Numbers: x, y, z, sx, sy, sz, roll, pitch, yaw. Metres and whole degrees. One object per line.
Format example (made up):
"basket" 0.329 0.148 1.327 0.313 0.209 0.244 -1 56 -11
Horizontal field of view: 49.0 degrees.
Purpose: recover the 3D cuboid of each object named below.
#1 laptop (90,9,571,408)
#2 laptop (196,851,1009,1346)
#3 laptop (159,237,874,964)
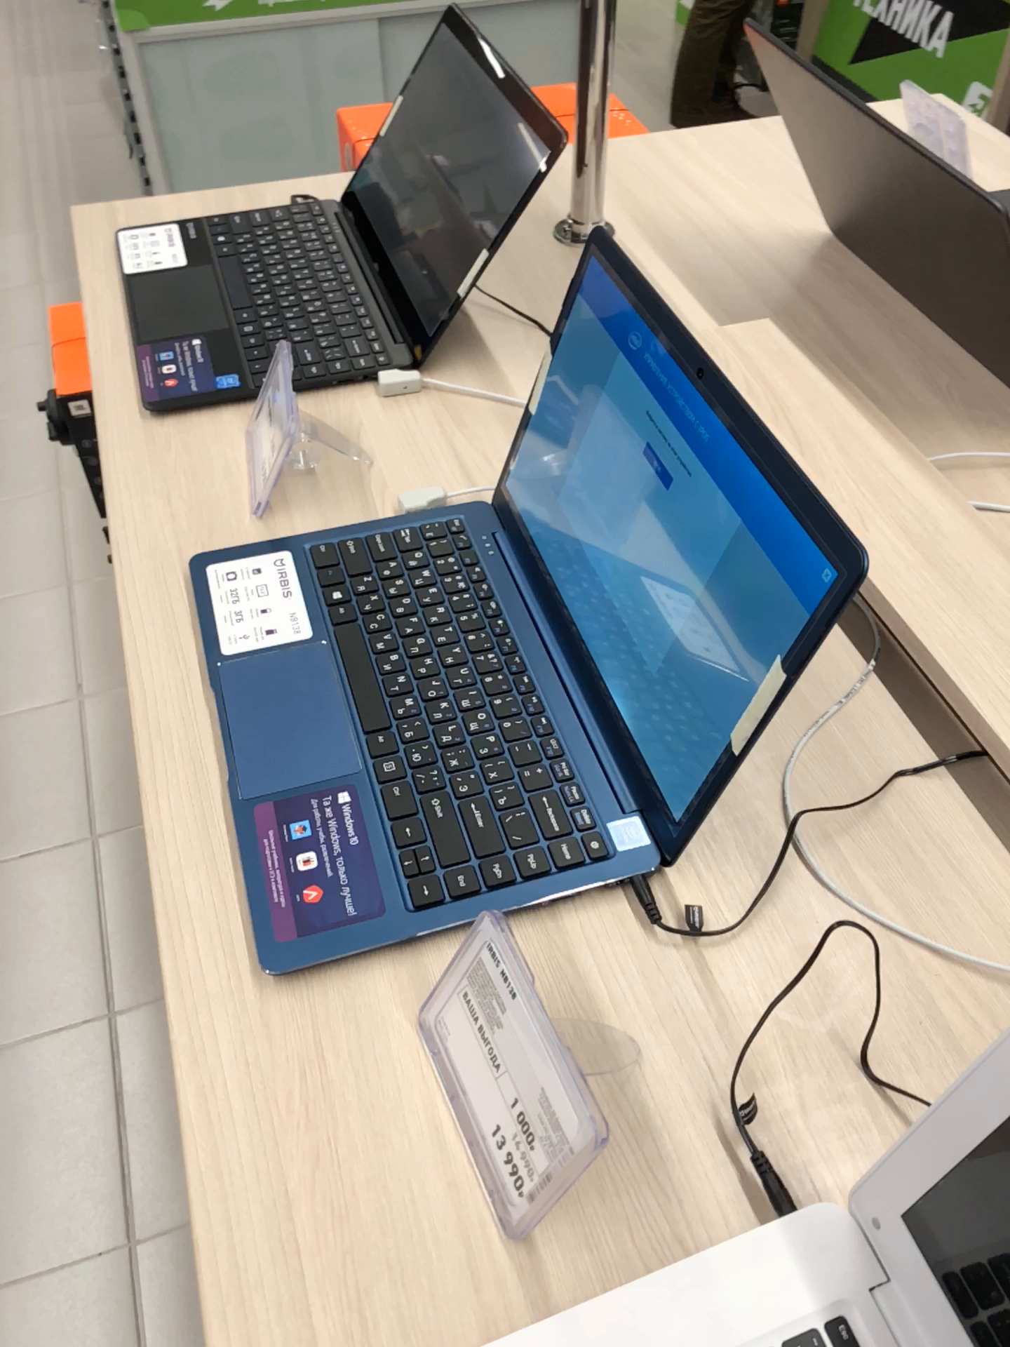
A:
"laptop" -0.152 -0.409 0.942 0.327 0.155 0.302 -14 49 -13
"laptop" 0.118 0.264 0.260 0.288 0.218 0.312 -15 47 -13
"laptop" -0.018 -0.061 0.605 0.270 0.185 0.310 -13 48 -12
